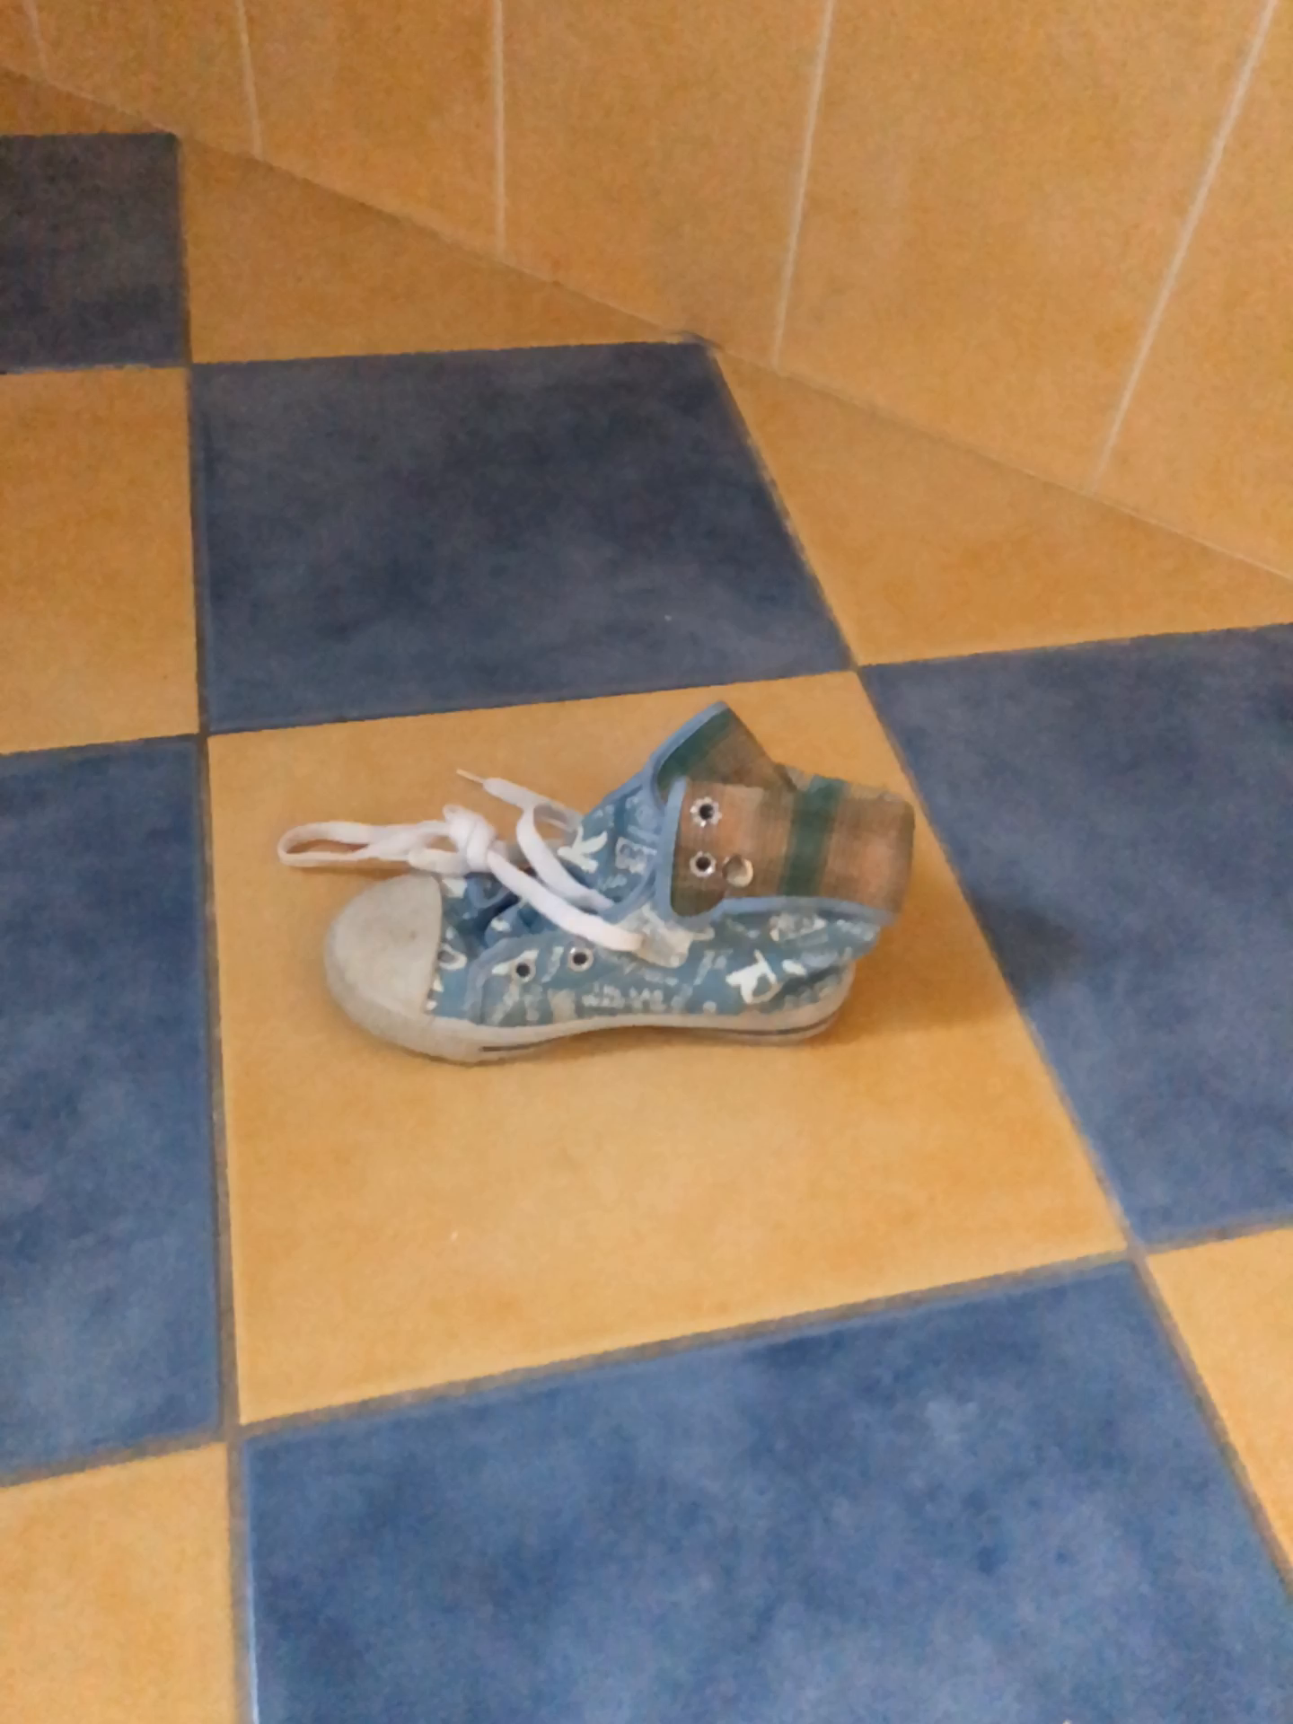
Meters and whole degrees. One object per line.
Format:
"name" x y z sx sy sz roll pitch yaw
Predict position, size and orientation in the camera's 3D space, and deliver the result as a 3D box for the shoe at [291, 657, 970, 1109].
"shoe" -0.011 0.007 0.482 0.200 0.119 0.080 -4 49 -9
